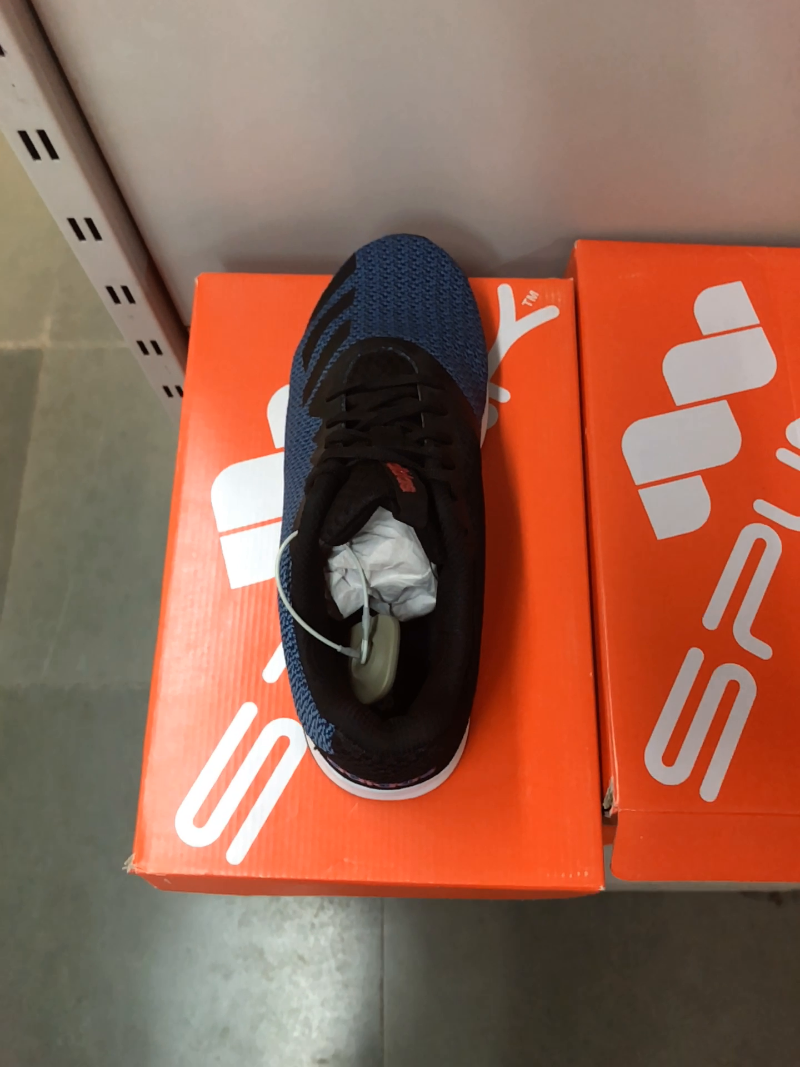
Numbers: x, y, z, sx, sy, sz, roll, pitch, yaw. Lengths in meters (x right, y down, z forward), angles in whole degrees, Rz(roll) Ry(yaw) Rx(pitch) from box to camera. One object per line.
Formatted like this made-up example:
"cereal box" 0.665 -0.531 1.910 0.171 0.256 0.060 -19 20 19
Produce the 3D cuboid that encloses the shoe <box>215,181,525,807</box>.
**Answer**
"shoe" -0.008 -0.010 0.406 0.105 0.136 0.254 0 70 1
